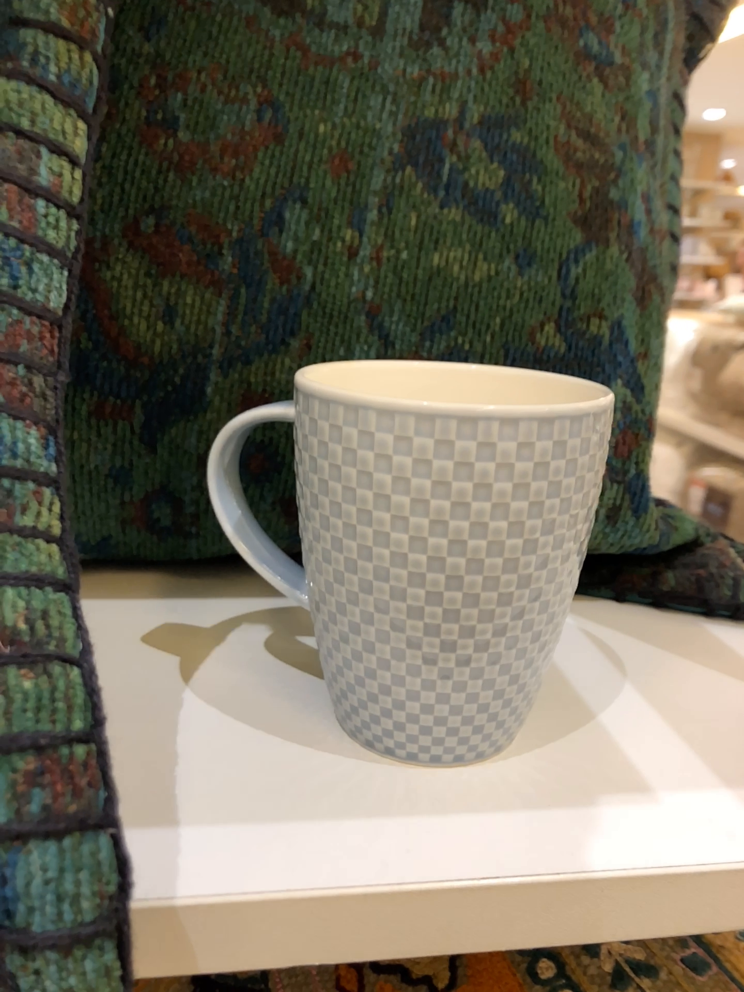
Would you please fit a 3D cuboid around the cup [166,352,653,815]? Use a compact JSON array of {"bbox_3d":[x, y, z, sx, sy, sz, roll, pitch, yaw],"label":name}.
[{"bbox_3d":[0.015,0.010,0.220,0.100,0.080,0.090,8,16,19],"label":"cup"}]
